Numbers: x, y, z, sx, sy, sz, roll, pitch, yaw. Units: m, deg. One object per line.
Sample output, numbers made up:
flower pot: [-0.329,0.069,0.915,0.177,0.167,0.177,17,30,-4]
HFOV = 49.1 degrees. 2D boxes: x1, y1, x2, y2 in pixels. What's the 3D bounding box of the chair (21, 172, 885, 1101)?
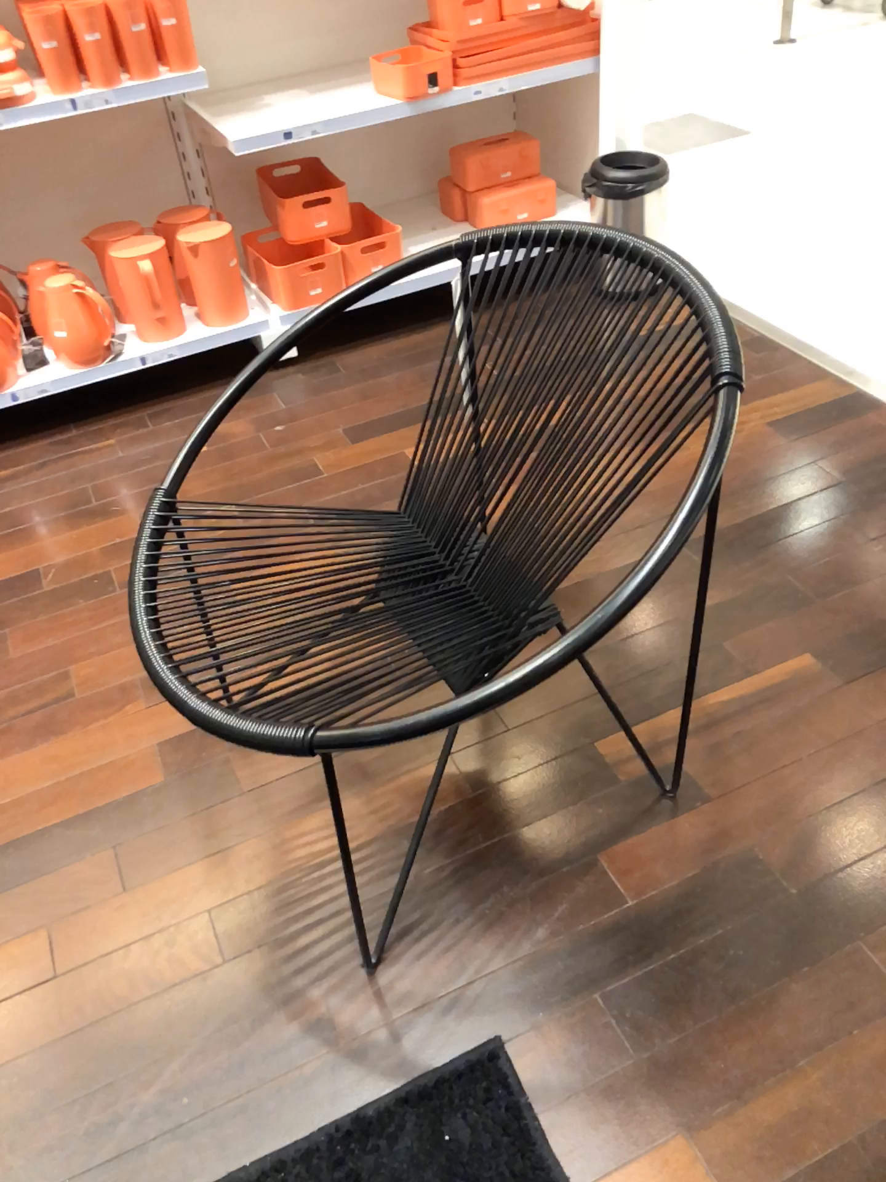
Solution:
chair: [0.012,-0.020,1.217,0.731,0.675,0.704,-21,40,-18]
